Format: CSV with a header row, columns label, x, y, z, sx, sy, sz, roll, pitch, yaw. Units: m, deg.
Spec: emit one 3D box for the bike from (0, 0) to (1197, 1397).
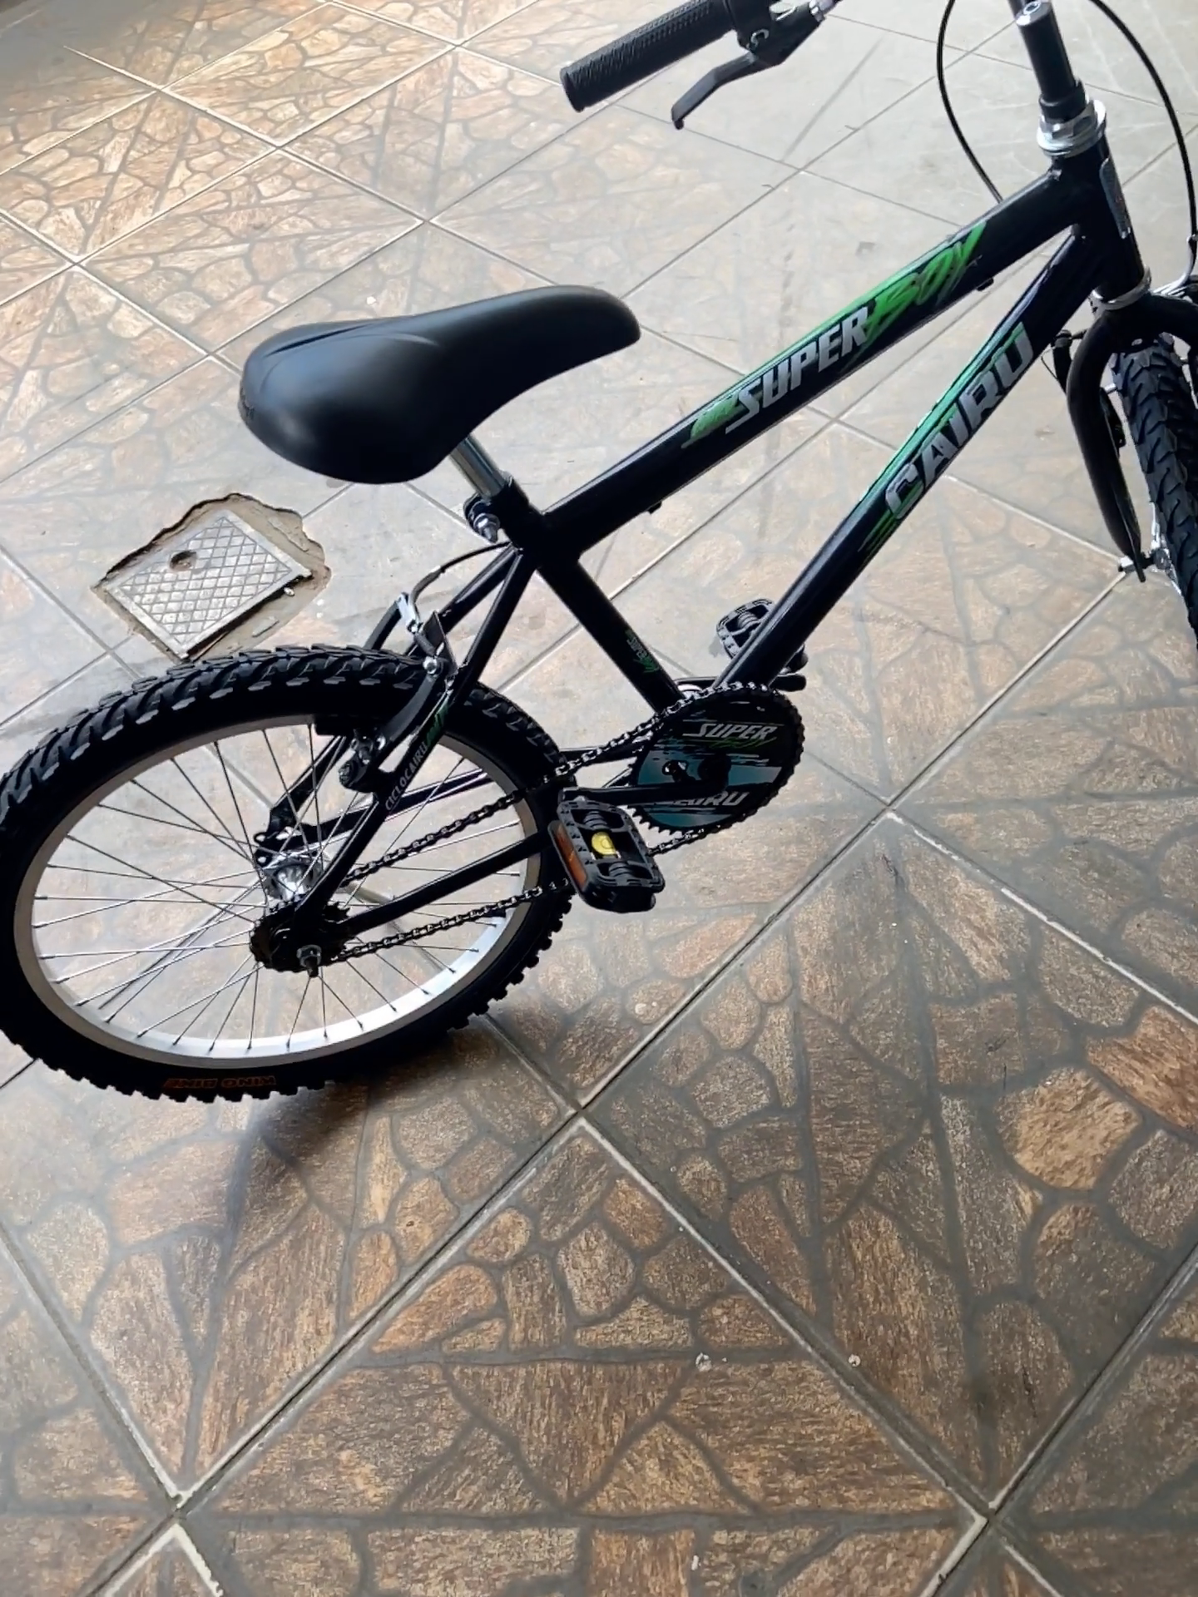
label,x,y,z,sx,sy,sz,roll,pitch,yaw
bike,0.008,-0.245,0.992,1.271,0.936,0.600,-27,57,-13
